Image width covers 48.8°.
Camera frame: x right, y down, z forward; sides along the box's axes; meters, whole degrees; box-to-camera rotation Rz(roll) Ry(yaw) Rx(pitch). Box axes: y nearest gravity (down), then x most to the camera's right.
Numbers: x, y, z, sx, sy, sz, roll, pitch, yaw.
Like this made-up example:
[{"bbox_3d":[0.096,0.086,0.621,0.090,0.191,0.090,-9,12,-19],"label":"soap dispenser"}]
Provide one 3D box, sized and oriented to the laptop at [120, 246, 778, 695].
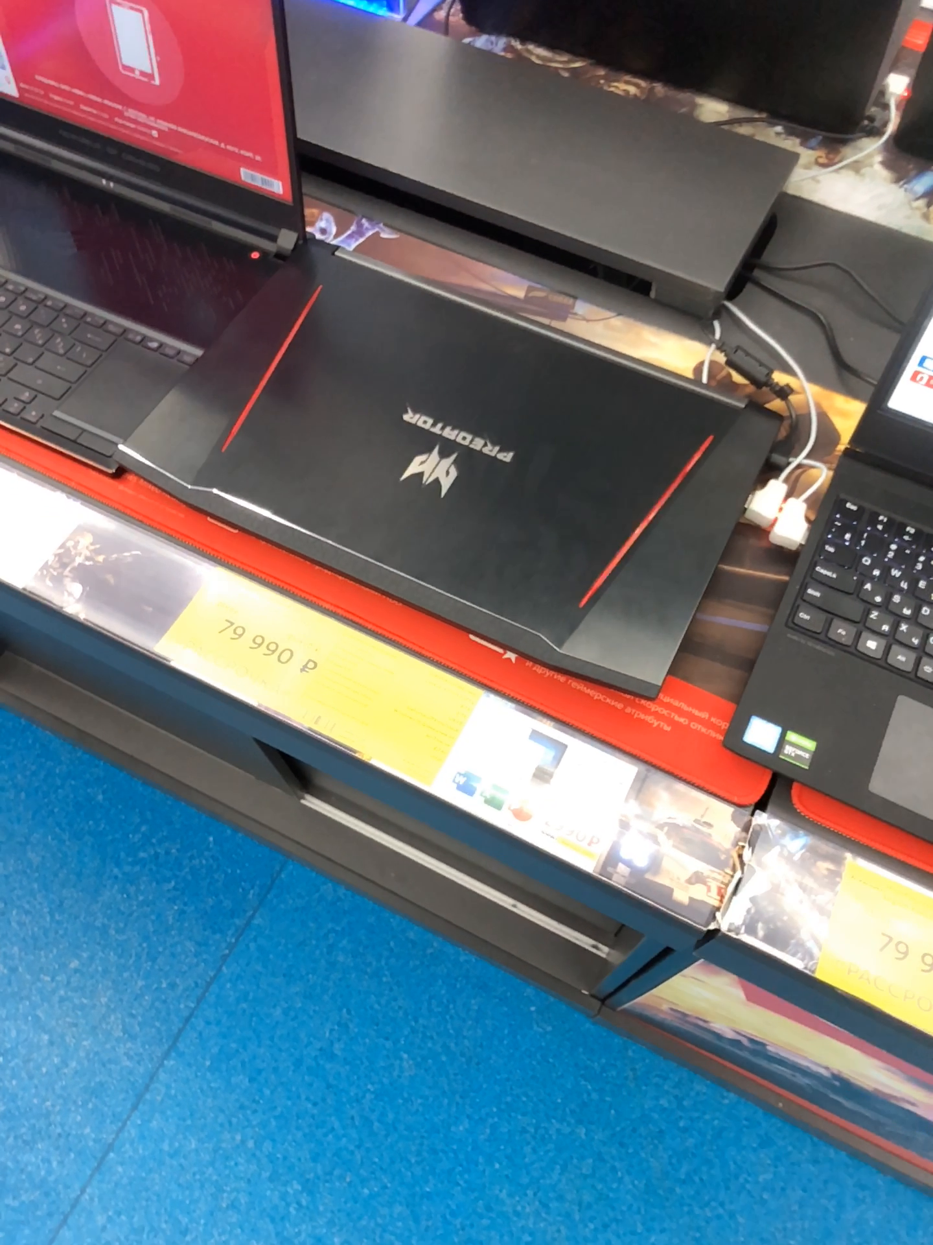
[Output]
[{"bbox_3d":[-0.006,-0.122,0.689,0.377,0.004,0.228,25,61,12],"label":"laptop"}]
